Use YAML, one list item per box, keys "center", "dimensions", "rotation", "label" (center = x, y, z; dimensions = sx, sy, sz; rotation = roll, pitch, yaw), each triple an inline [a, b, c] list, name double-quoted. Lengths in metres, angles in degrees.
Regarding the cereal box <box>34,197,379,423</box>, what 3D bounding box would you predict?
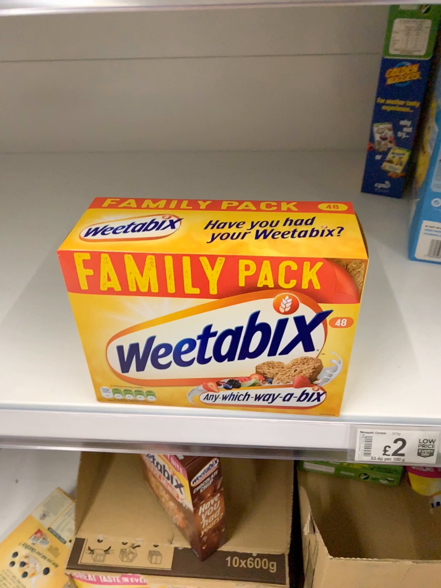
- center: [-0.008, 0.017, 0.432]
  dimensions: [0.260, 0.188, 0.091]
  rotation: [2, 37, 6]
  label: "cereal box"
